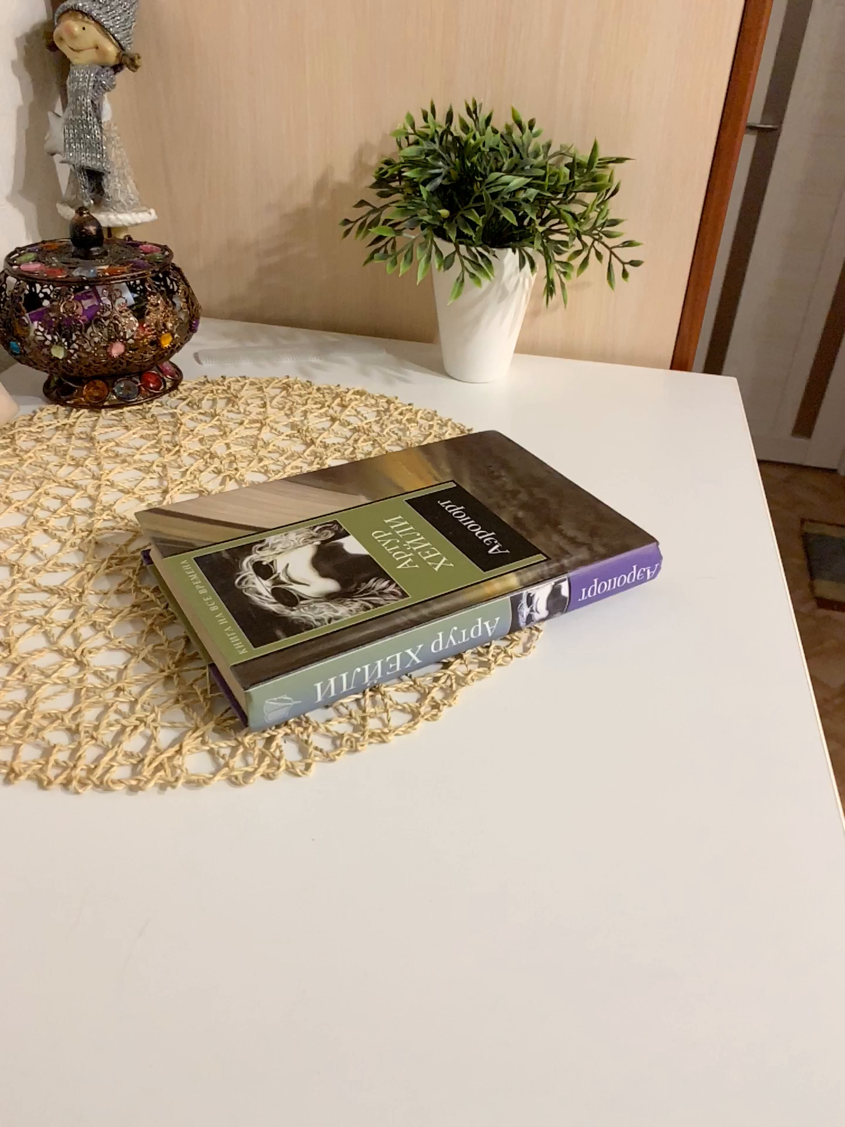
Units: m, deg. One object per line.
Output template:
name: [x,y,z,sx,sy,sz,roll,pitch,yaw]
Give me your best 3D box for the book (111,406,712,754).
book: [-0.005,-0.012,0.402,0.231,0.020,0.151,-18,40,-27]
